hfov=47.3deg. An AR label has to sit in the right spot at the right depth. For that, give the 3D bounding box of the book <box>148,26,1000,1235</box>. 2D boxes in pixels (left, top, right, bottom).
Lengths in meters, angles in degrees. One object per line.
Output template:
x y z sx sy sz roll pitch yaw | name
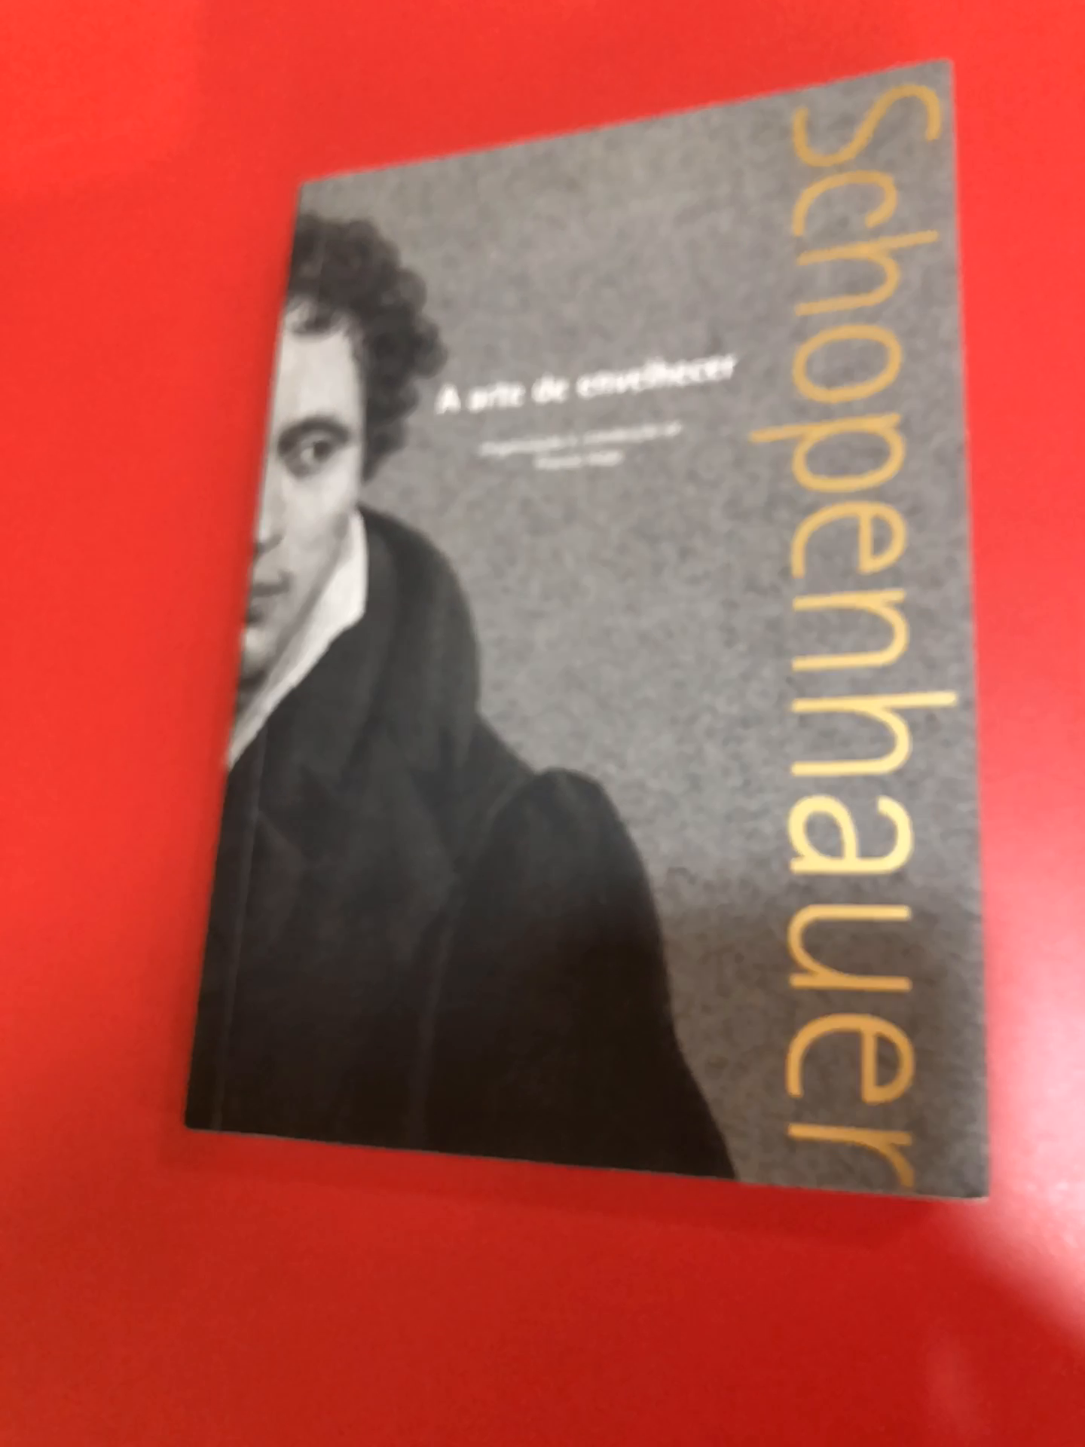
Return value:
0.006 -0.022 0.221 0.137 0.017 0.196 -1 75 19 | book
